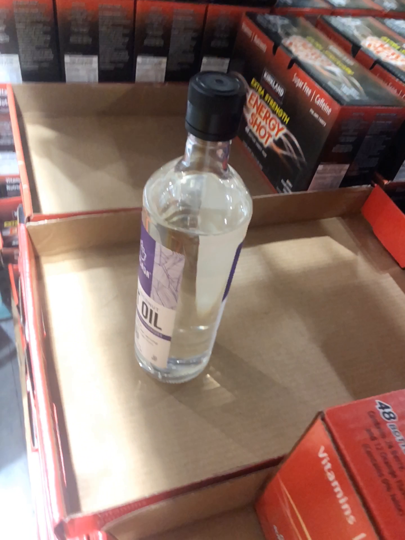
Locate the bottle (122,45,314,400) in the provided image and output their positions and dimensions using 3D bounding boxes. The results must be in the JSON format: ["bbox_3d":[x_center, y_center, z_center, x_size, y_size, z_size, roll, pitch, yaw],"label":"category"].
[{"bbox_3d":[-0.013,-0.010,0.353,0.080,0.290,0.078,6,46,-6],"label":"bottle"}]
